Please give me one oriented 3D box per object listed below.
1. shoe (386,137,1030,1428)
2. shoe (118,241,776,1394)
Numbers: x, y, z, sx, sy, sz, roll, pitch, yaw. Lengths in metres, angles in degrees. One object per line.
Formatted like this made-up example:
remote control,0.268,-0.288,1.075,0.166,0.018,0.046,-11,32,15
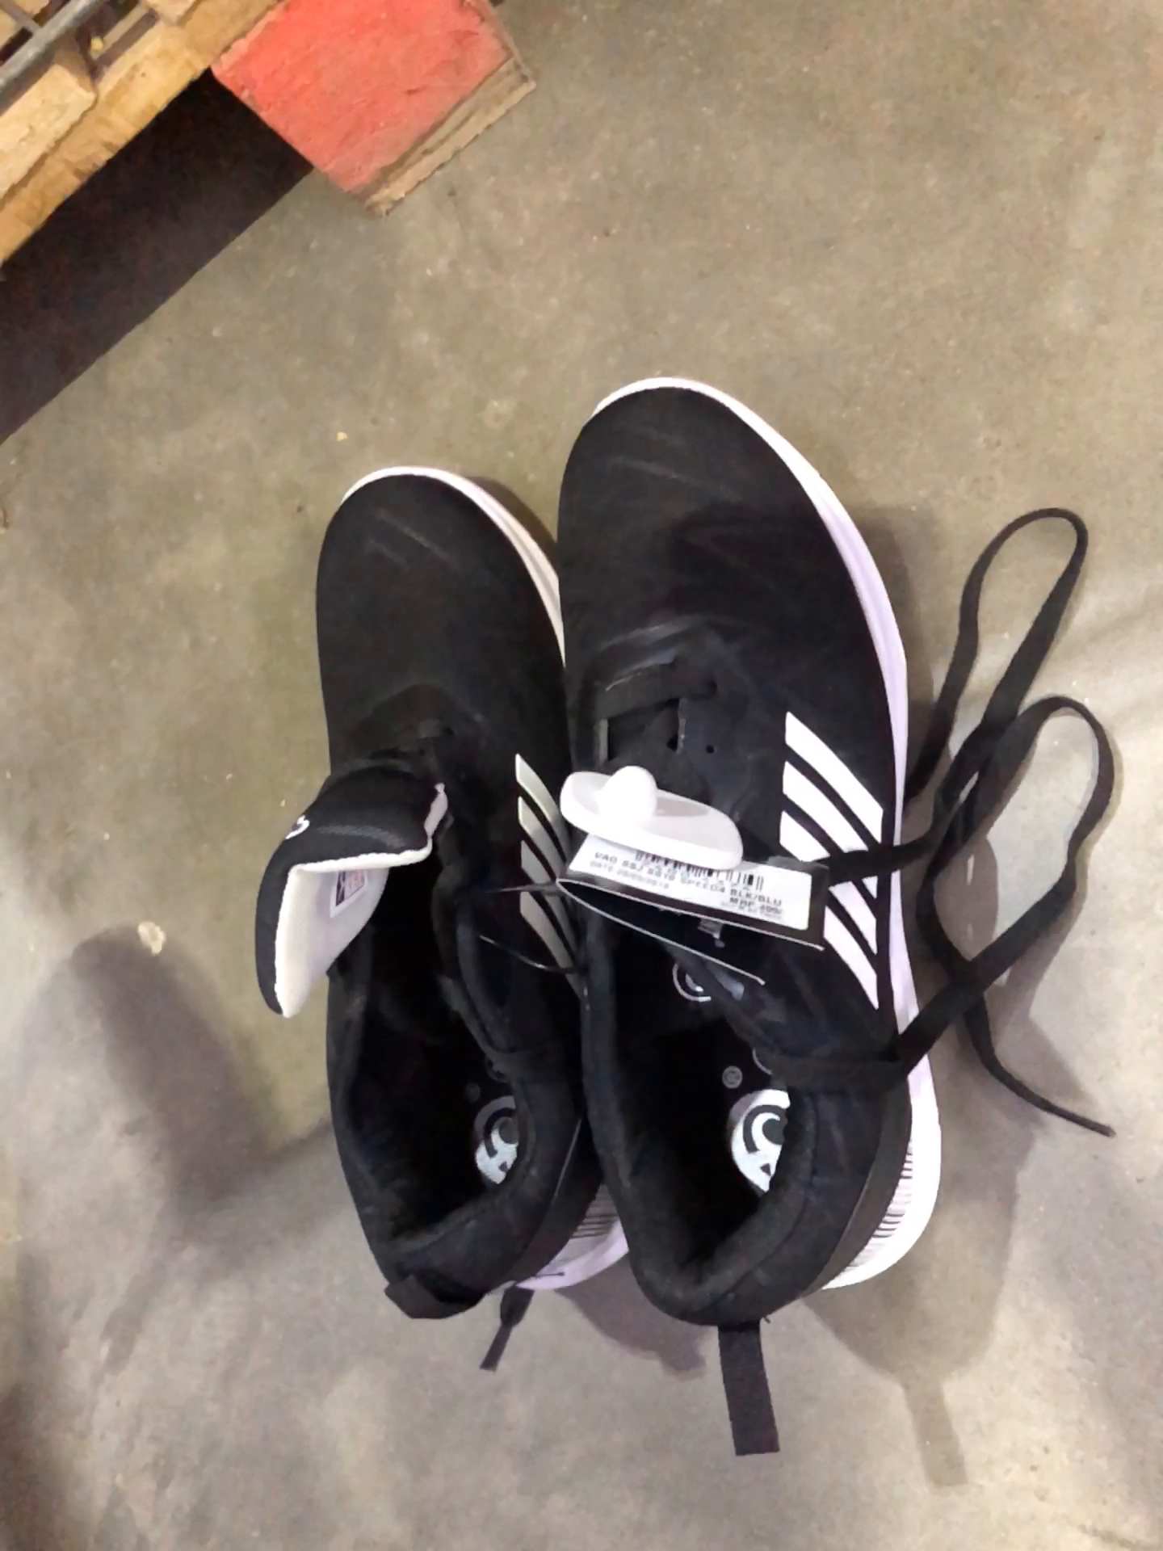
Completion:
shoe,0.037,0.004,0.388,0.110,0.130,0.320,-14,75,25
shoe,-0.050,0.013,0.444,0.120,0.130,0.331,-20,72,23
